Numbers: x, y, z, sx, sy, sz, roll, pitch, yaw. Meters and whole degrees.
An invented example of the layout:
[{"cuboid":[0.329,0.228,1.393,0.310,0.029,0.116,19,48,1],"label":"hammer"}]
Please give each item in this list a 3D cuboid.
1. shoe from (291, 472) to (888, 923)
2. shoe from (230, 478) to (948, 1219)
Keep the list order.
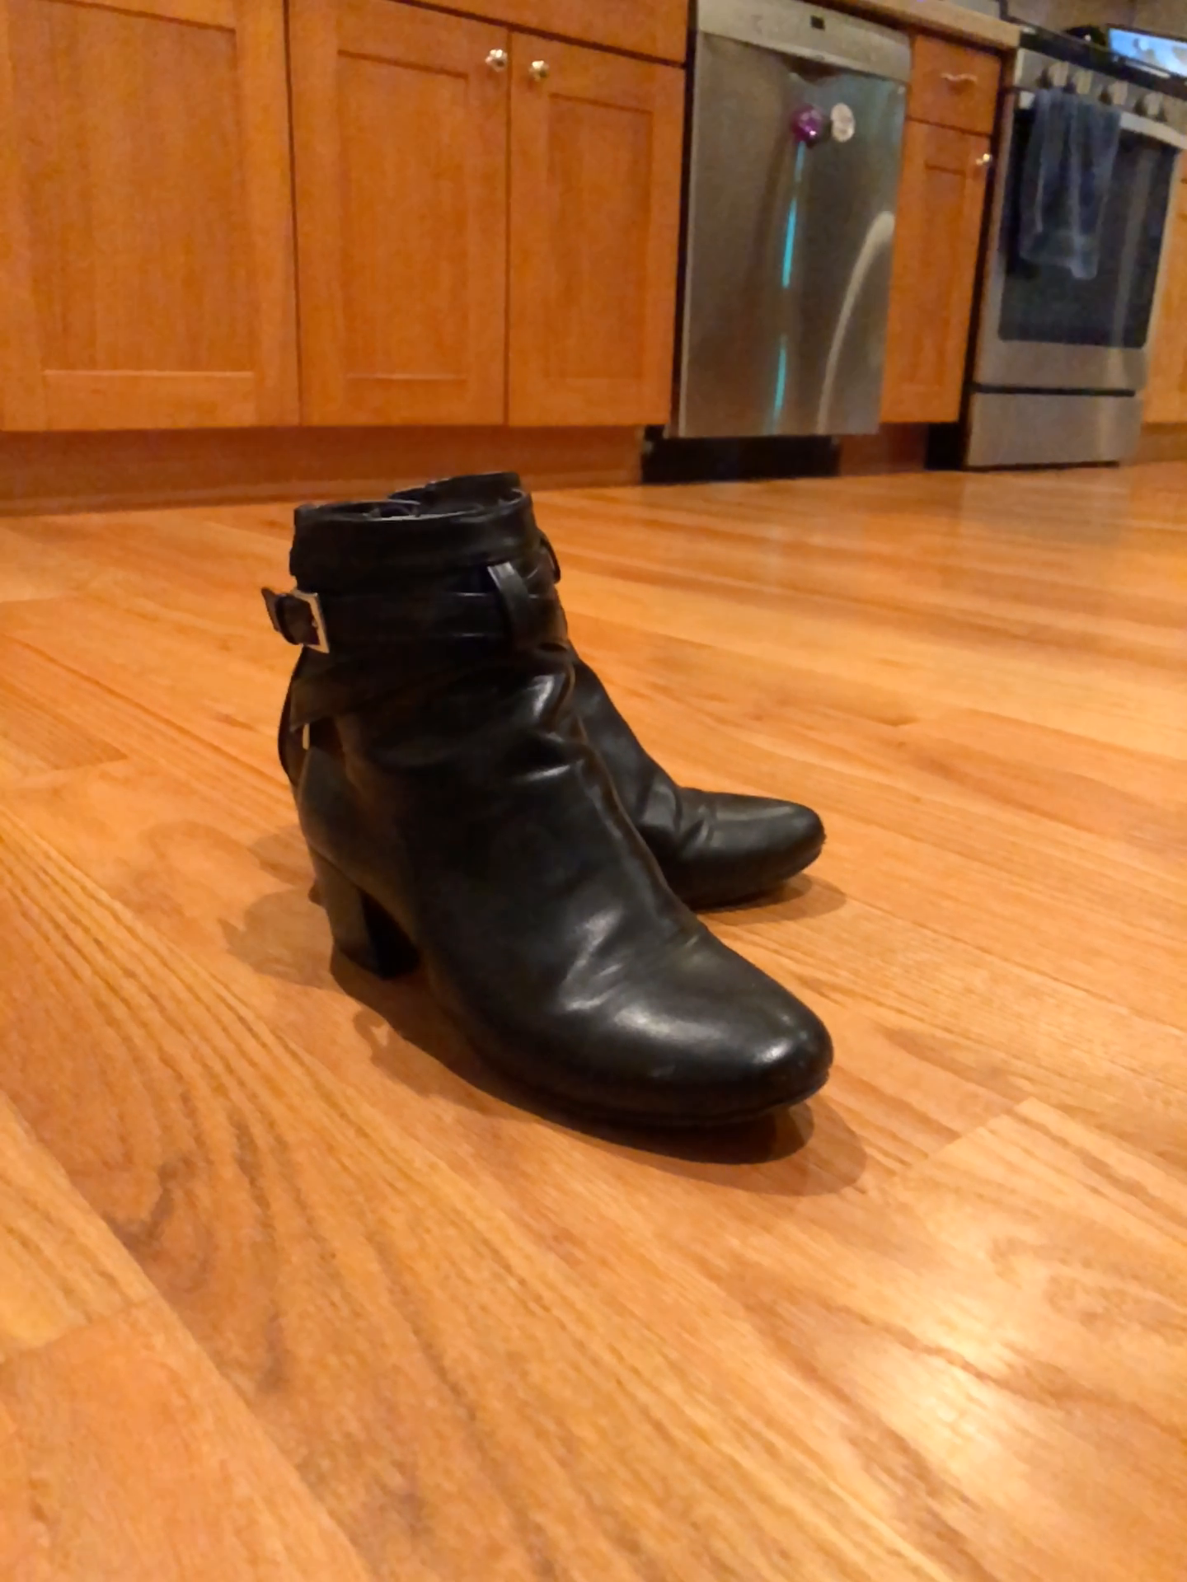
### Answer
[{"cuboid":[-0.004,-0.043,0.562,0.226,0.172,0.090,1,17,-2],"label":"shoe"},{"cuboid":[-0.017,-0.005,0.427,0.090,0.172,0.227,-14,23,-42],"label":"shoe"}]
